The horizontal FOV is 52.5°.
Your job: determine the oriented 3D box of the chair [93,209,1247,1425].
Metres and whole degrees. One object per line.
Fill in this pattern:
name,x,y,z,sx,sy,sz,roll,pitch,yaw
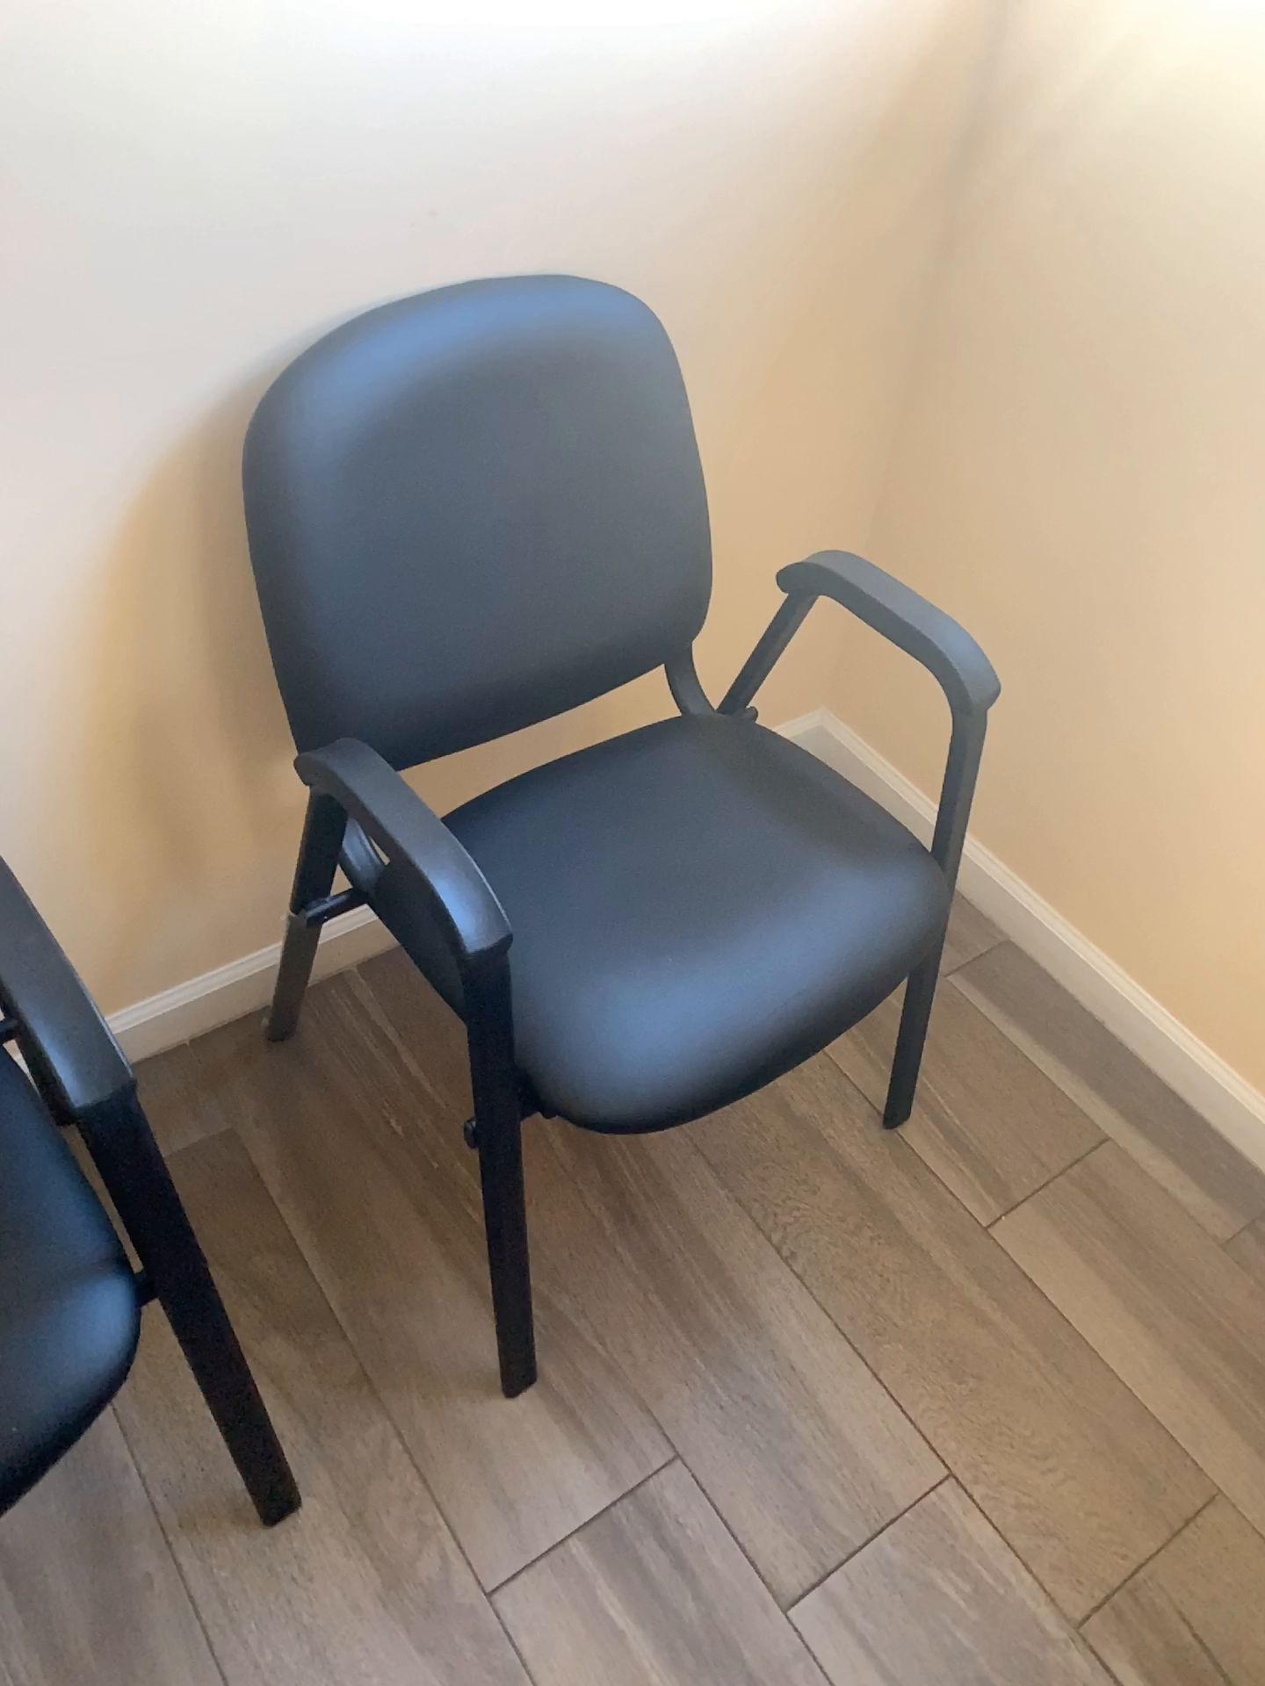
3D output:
chair,-0.012,-0.024,1.256,0.636,0.847,0.590,-26,55,-28
